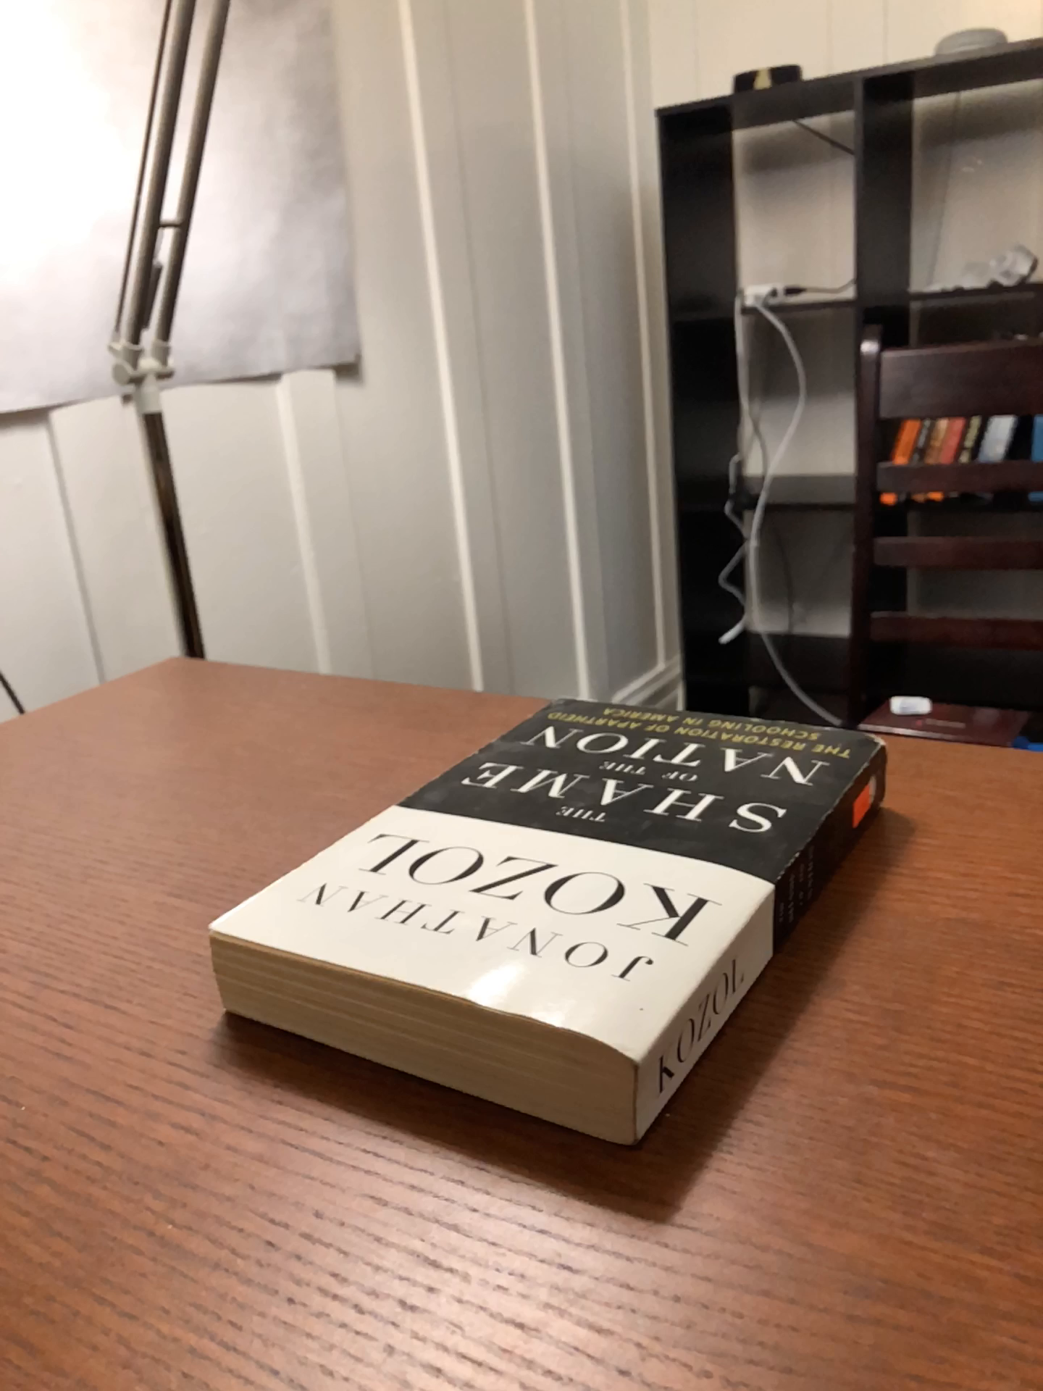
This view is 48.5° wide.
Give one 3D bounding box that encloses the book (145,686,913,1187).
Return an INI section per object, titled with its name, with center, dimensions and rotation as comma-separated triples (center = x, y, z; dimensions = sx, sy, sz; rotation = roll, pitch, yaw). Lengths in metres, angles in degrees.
[book]
center = 0.020, 0.053, 0.389
dimensions = 0.160, 0.030, 0.231
rotation = 6, 21, 31
